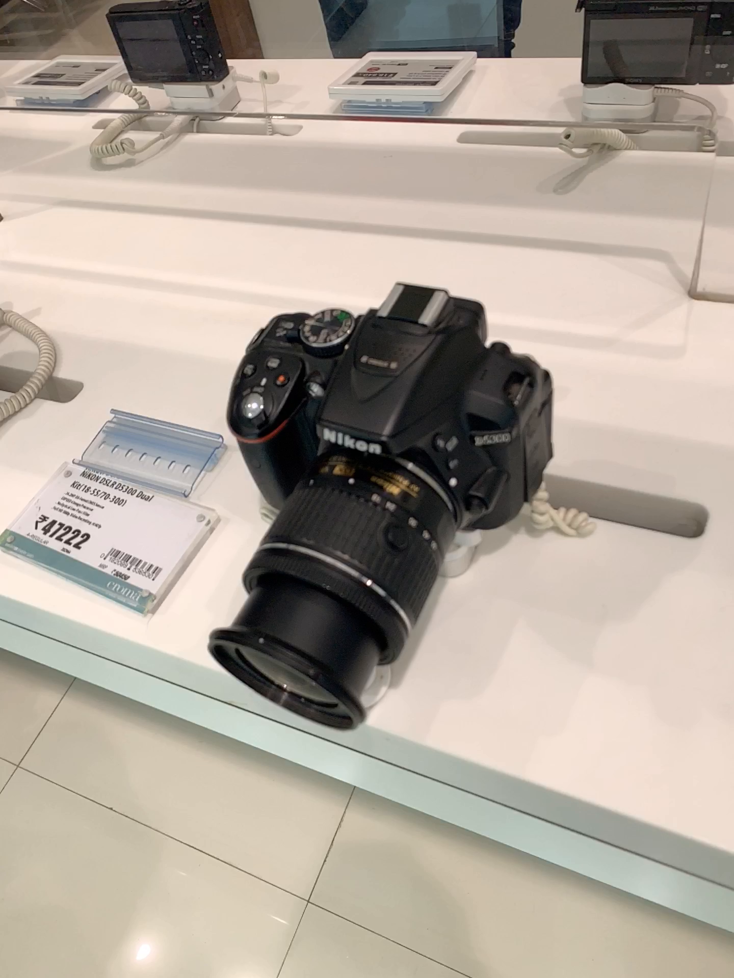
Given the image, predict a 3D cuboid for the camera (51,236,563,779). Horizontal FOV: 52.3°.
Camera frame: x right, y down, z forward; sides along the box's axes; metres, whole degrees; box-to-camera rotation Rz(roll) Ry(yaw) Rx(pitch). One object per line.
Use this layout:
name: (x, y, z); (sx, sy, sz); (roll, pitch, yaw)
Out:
camera: (-0.005, 0.001, 0.277); (0.110, 0.110, 0.140); (16, 57, 24)
